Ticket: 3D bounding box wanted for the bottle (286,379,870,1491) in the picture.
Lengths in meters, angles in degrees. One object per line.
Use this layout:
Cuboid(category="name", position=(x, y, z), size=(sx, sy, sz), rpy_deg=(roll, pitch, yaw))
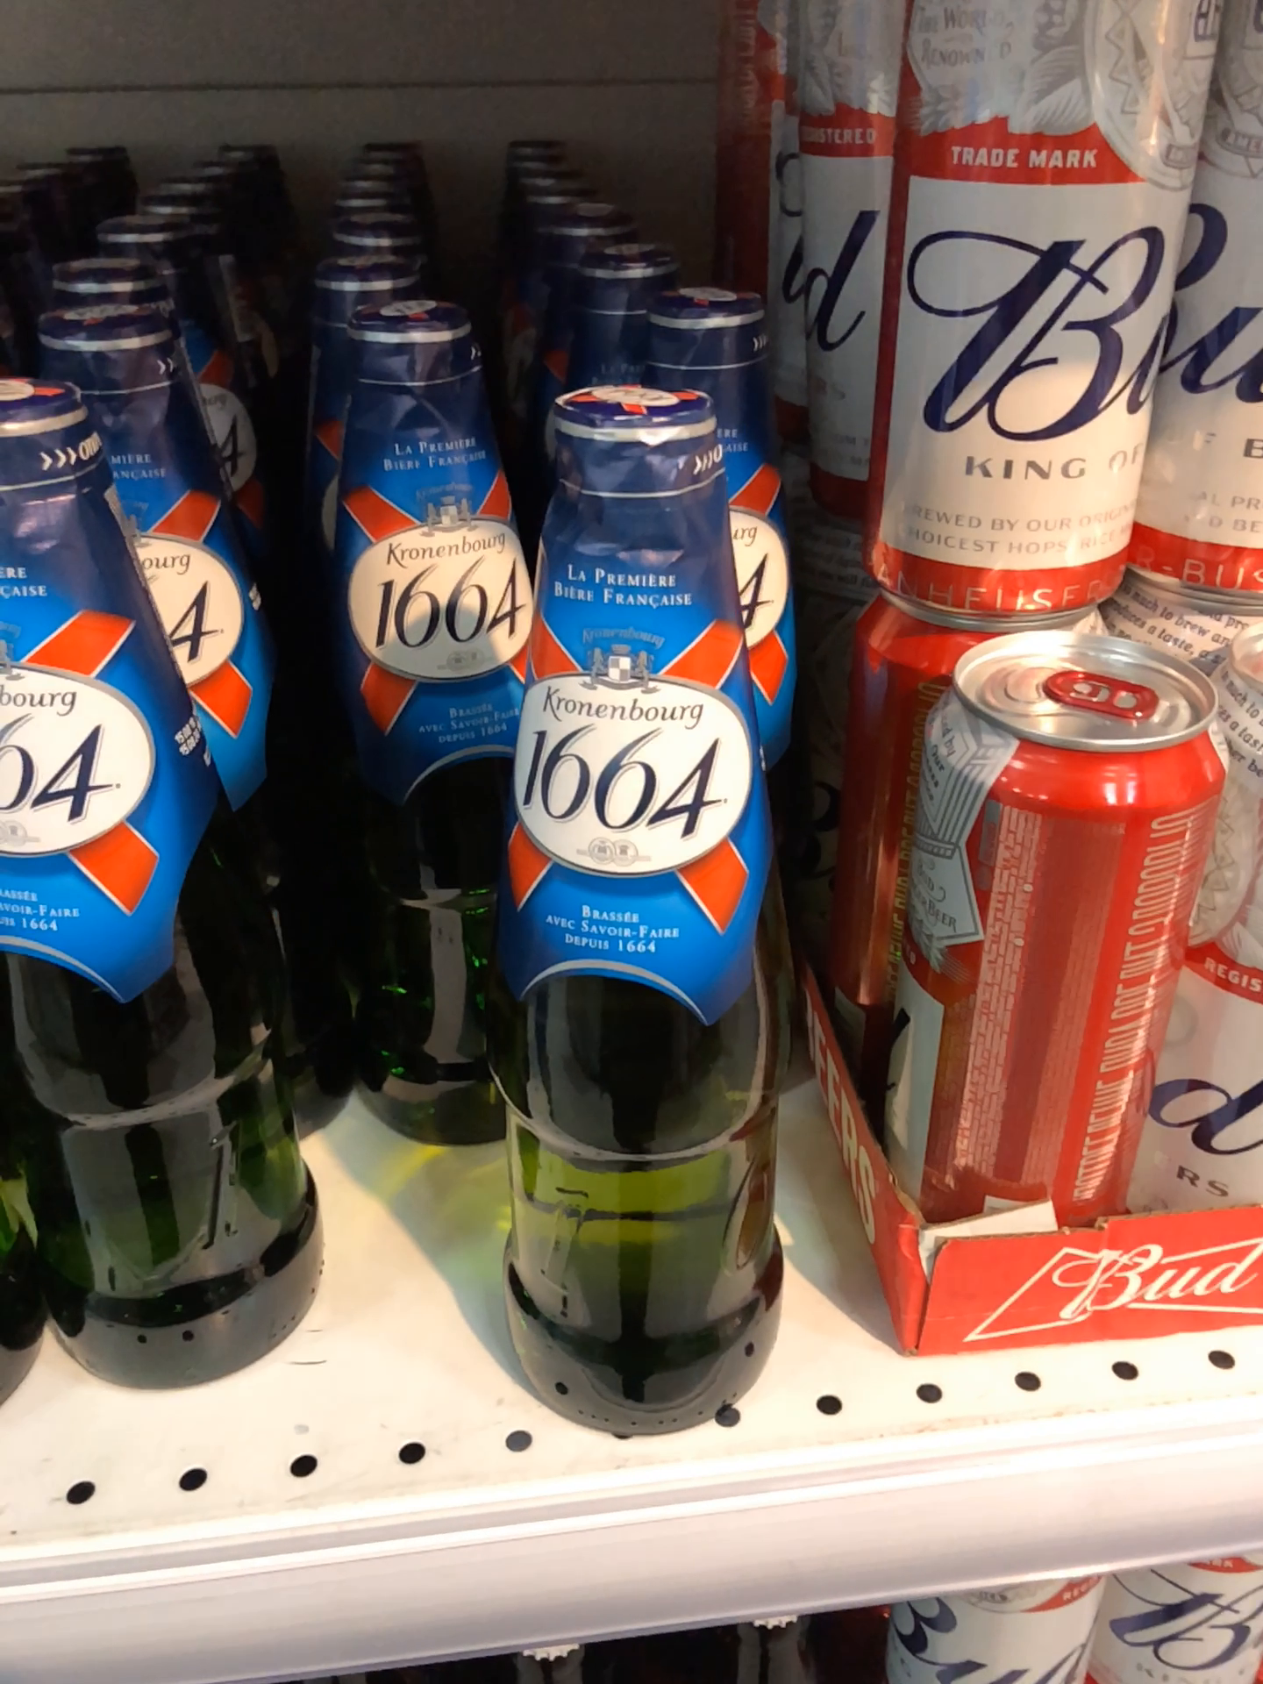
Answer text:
Cuboid(category="bottle", position=(-0.003, 0.024, 0.299), size=(0.080, 0.219, 0.080), rpy_deg=(-1, 30, 0))
